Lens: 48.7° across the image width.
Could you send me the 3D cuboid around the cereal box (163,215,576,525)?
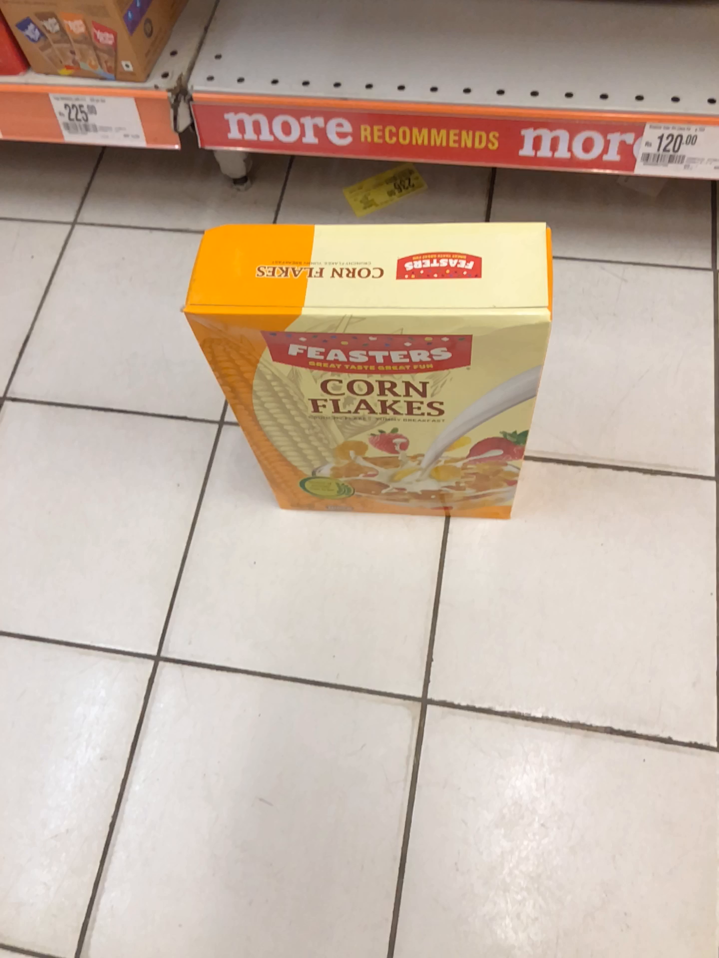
[{"bbox_3d":[0.017,-0.049,0.488,0.190,0.249,0.060,2,66,7],"label":"cereal box"}]
